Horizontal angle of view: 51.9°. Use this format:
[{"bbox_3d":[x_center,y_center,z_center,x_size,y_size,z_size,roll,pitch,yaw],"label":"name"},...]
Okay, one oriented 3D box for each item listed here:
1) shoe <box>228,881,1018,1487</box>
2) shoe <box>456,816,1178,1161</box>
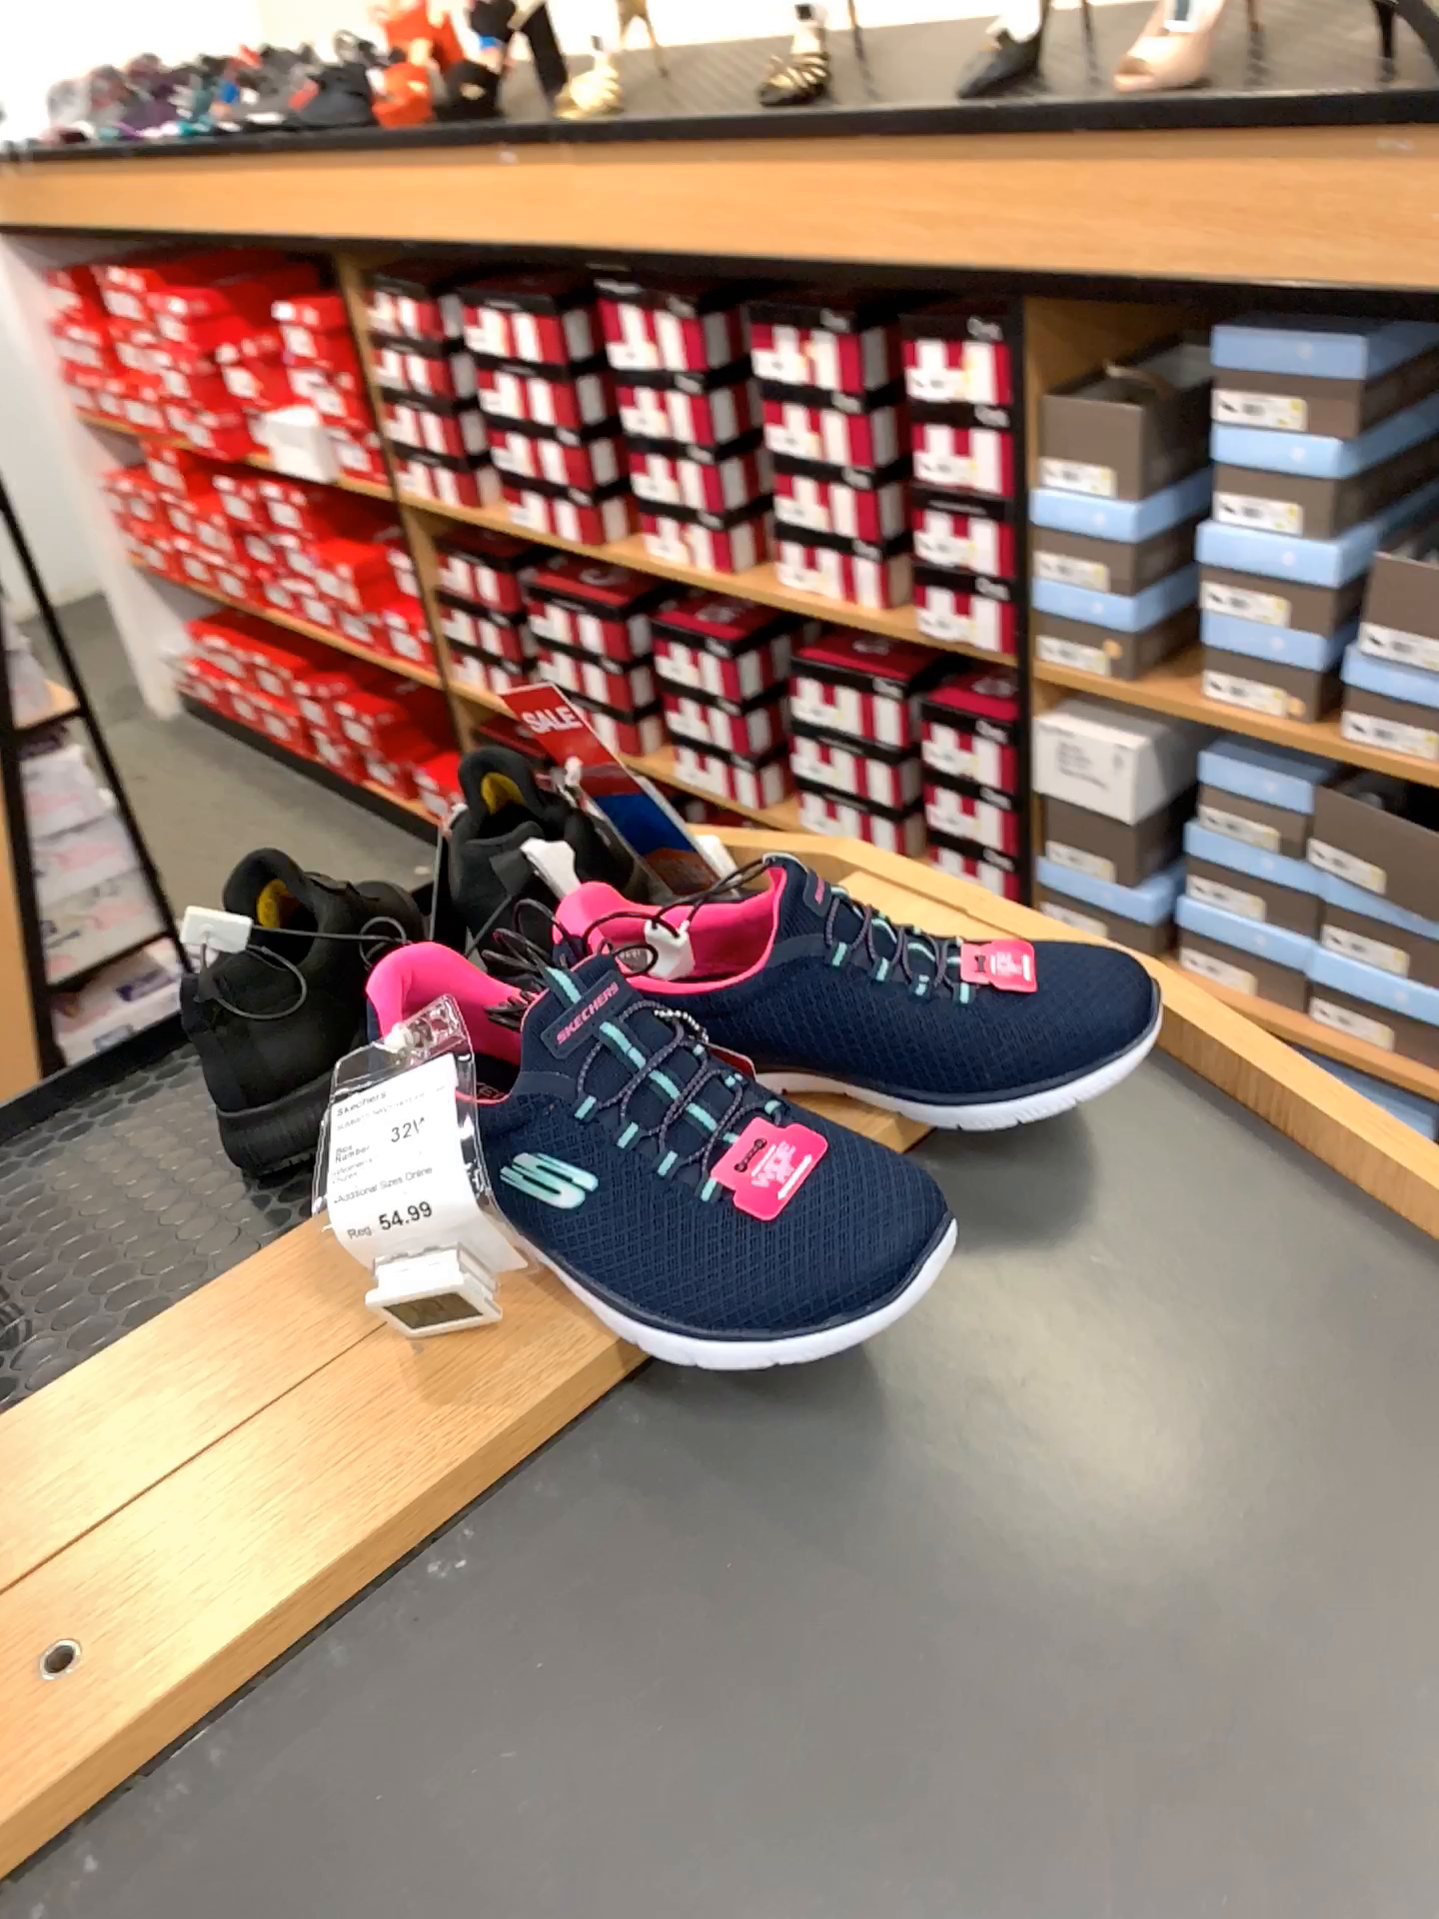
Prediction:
[{"bbox_3d":[-0.034,0.065,0.526,0.251,0.099,0.110,14,41,30],"label":"shoe"},{"bbox_3d":[0.042,0.011,0.593,0.260,0.089,0.101,-1,35,12],"label":"shoe"}]
